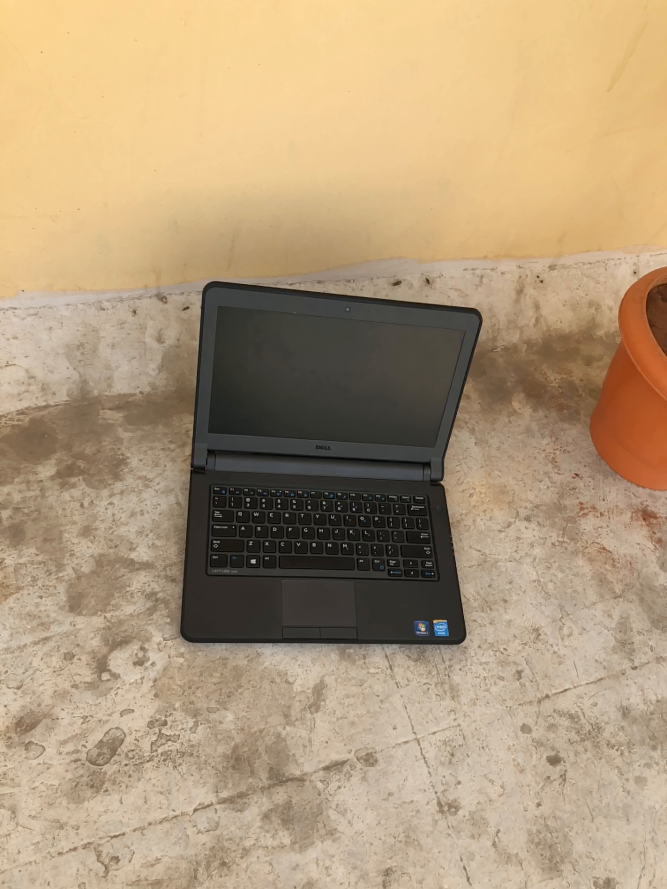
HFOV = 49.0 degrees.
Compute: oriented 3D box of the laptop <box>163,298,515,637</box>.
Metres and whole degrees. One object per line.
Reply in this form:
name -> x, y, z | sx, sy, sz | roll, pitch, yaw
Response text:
laptop -> -0.016, 0.030, 0.805 | 0.308, 0.208, 0.300 | 3, 53, -10
